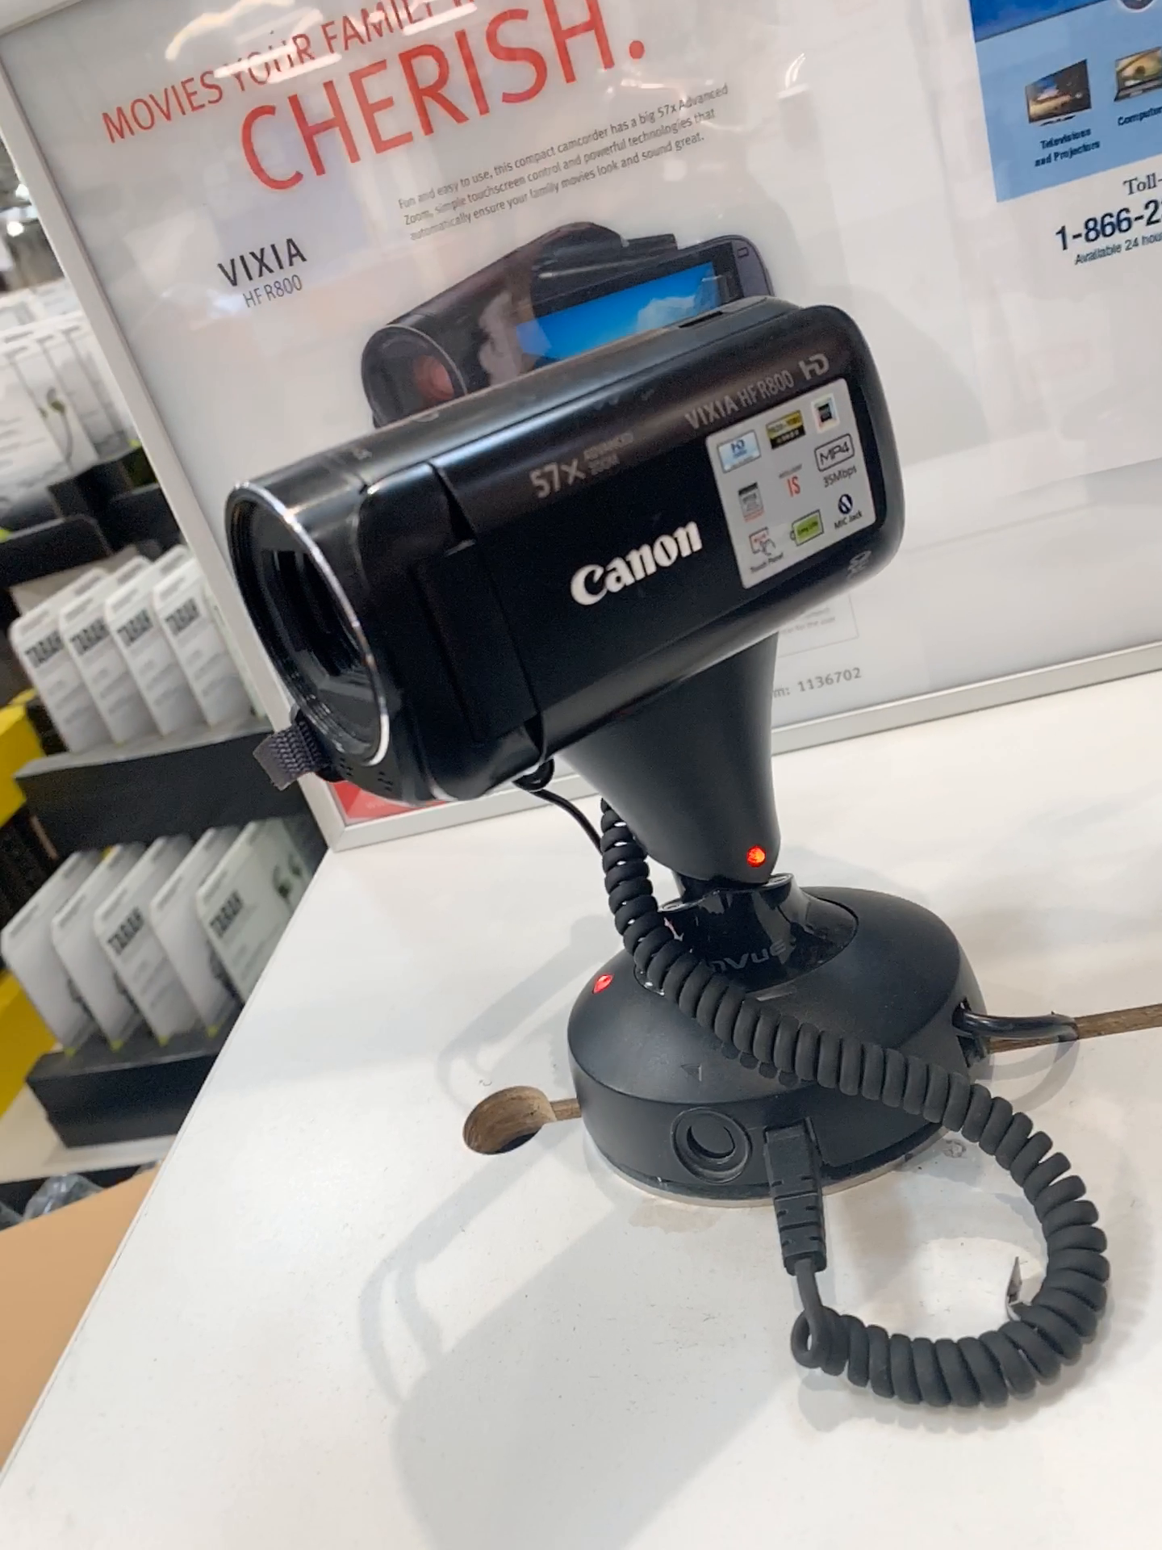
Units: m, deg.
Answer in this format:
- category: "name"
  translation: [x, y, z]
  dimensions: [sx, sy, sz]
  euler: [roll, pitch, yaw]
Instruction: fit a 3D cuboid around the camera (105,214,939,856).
- category: "camera"
  translation: [-0.005, -0.044, 0.198]
  dimensions: [0.113, 0.054, 0.058]
  euler: [-30, 27, -26]
